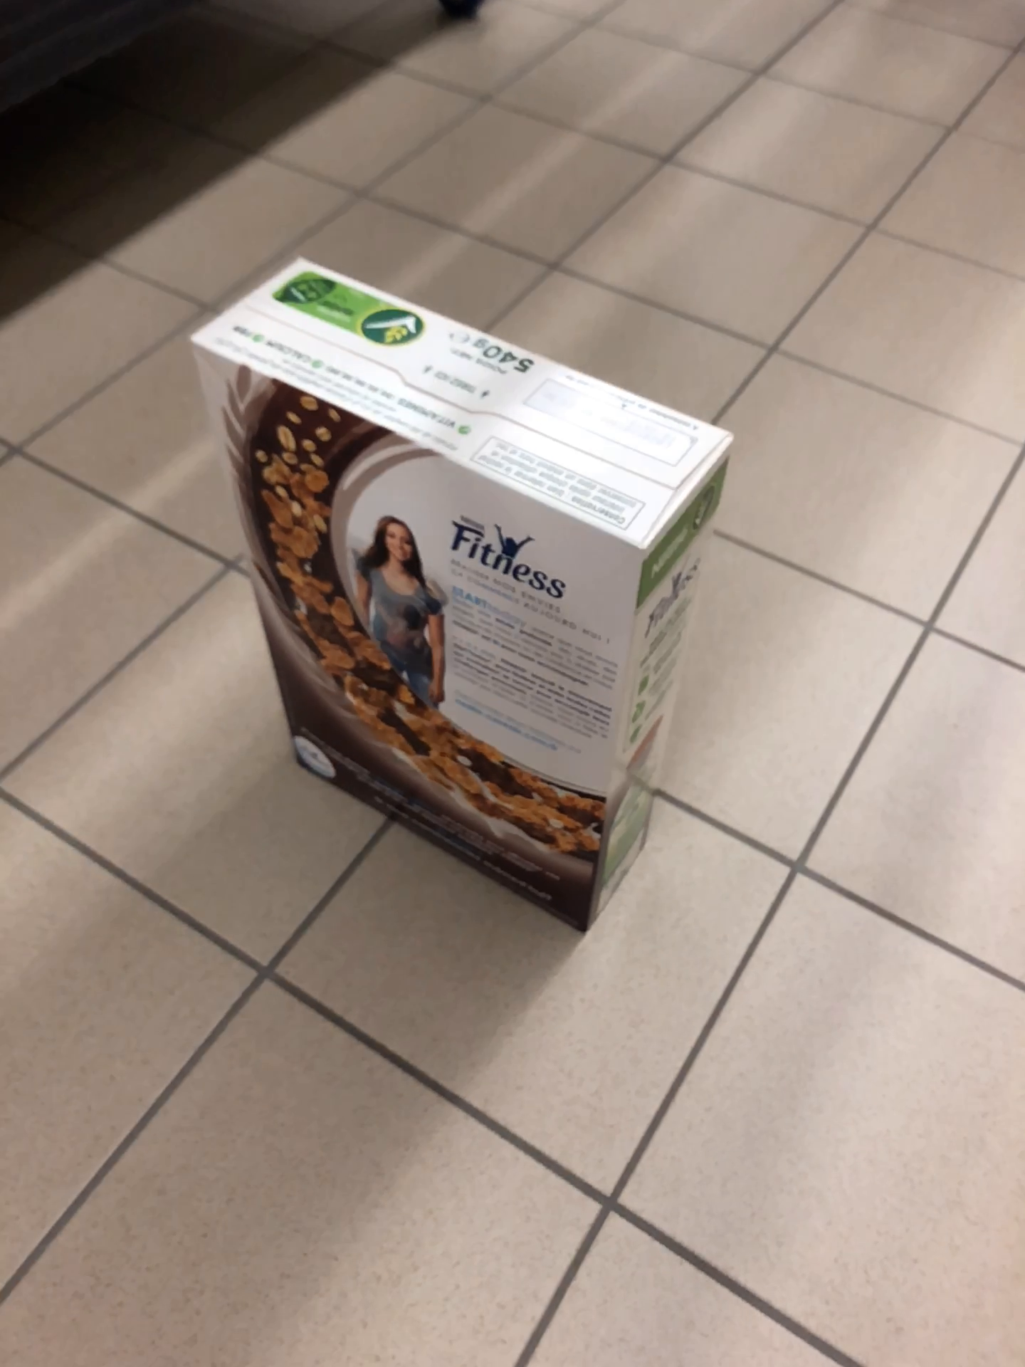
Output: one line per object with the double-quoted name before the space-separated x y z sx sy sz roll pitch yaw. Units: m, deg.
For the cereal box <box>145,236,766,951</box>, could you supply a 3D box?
"cereal box" -0.026 -0.022 0.513 0.210 0.278 0.080 27 57 18
